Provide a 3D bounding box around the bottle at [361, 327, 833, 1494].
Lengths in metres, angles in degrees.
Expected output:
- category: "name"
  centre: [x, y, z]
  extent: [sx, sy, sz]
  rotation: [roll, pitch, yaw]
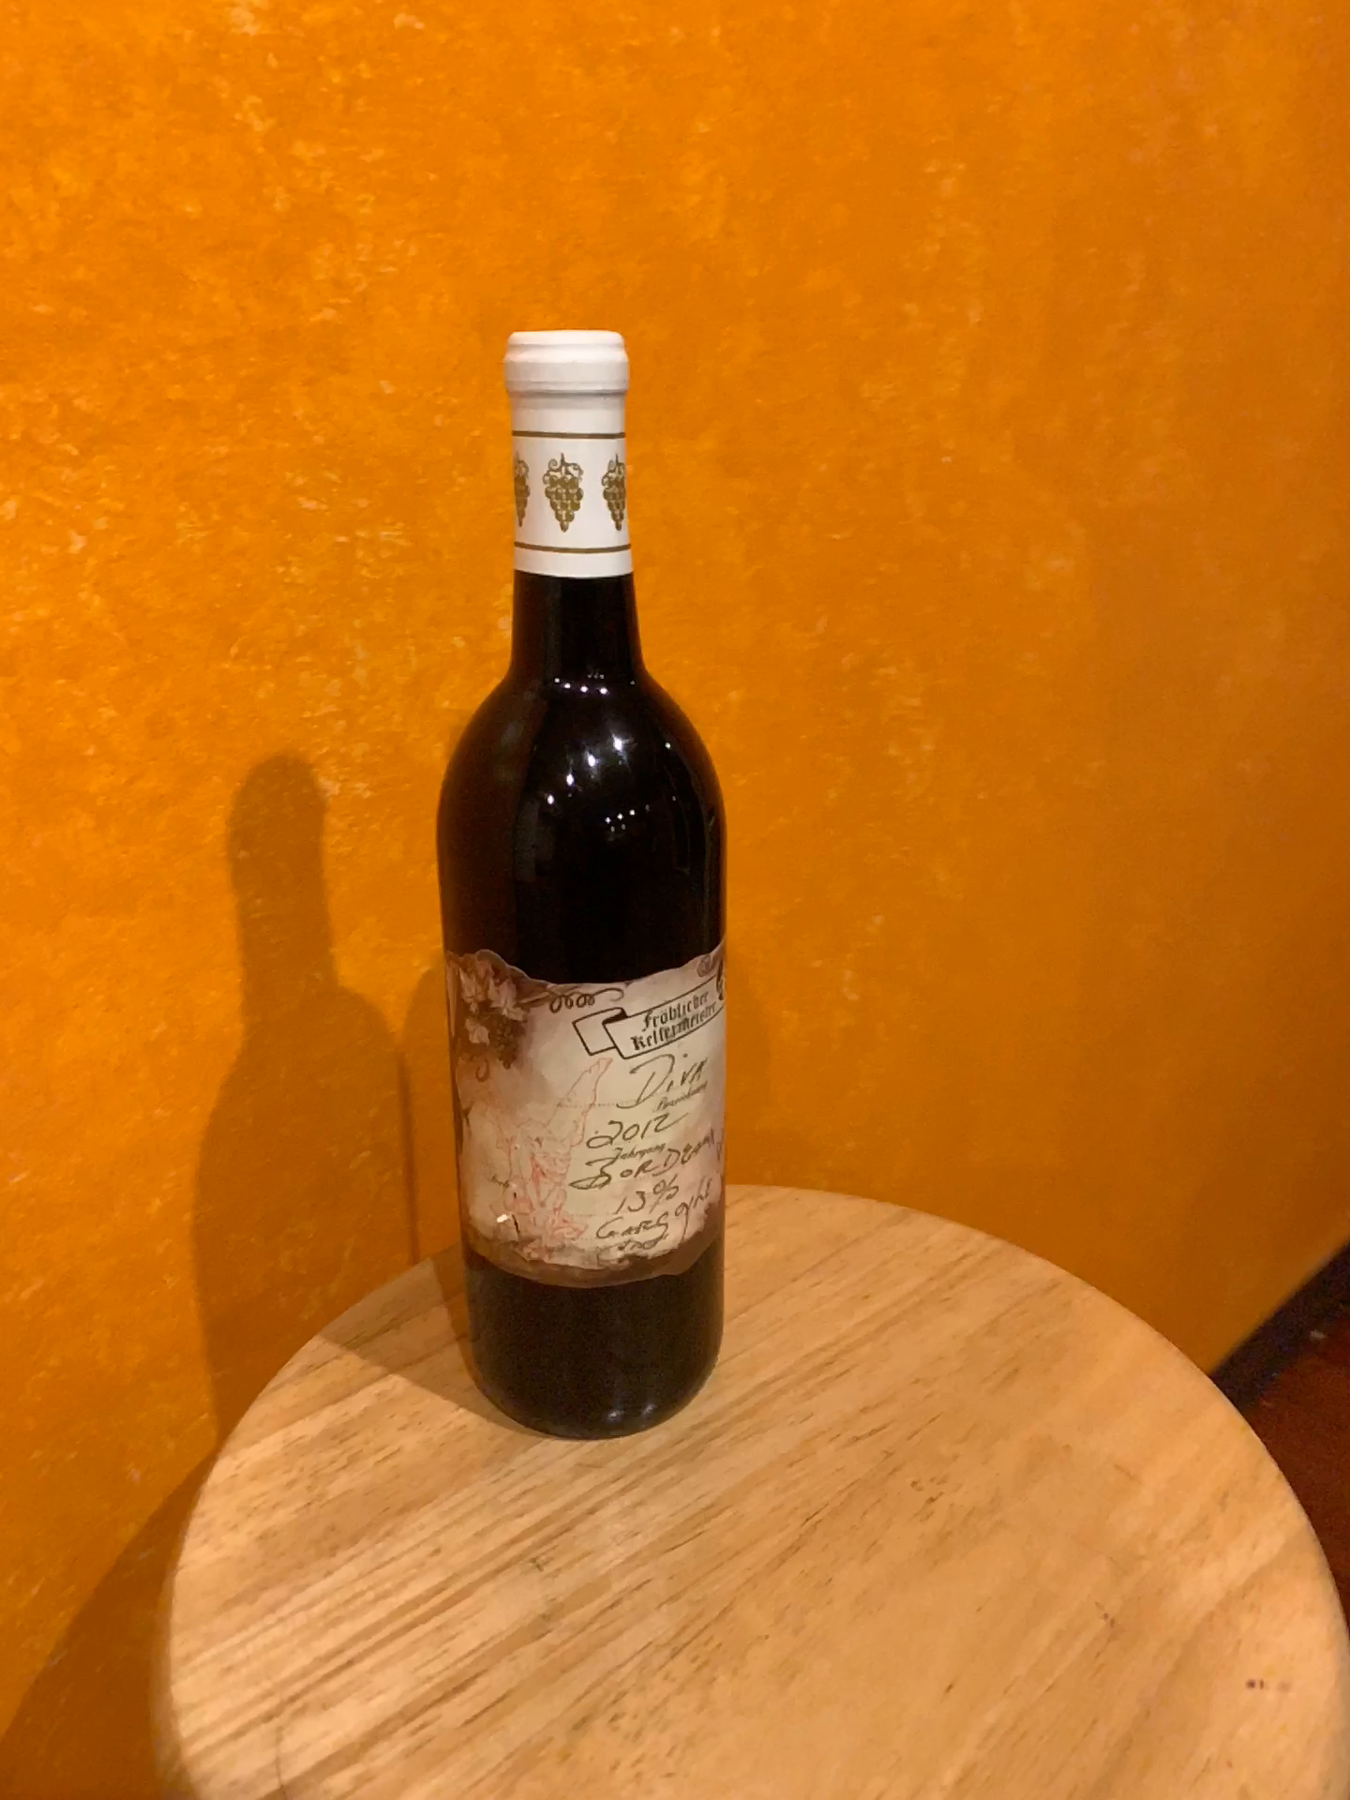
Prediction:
- category: "bottle"
  centre: [-0.019, 0.005, 0.368]
  extent: [0.080, 0.289, 0.070]
  rotation: [-17, 28, -37]
